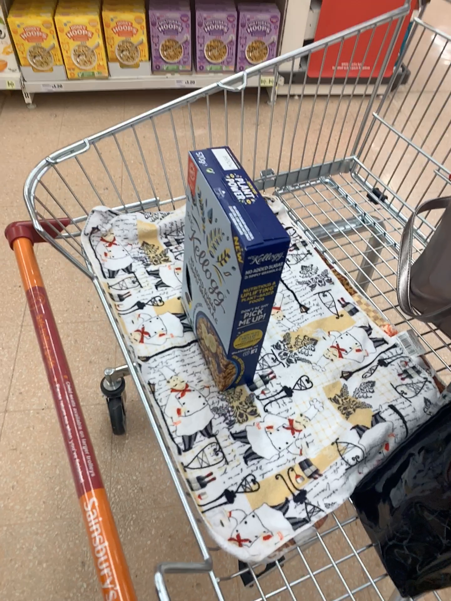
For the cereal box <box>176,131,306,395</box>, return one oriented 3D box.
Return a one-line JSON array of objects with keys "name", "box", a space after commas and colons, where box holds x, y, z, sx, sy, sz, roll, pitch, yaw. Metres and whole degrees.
[{"name": "cereal box", "box": [-0.002, -0.033, 0.525, 0.050, 0.248, 0.171, -12, 52, -19]}]
